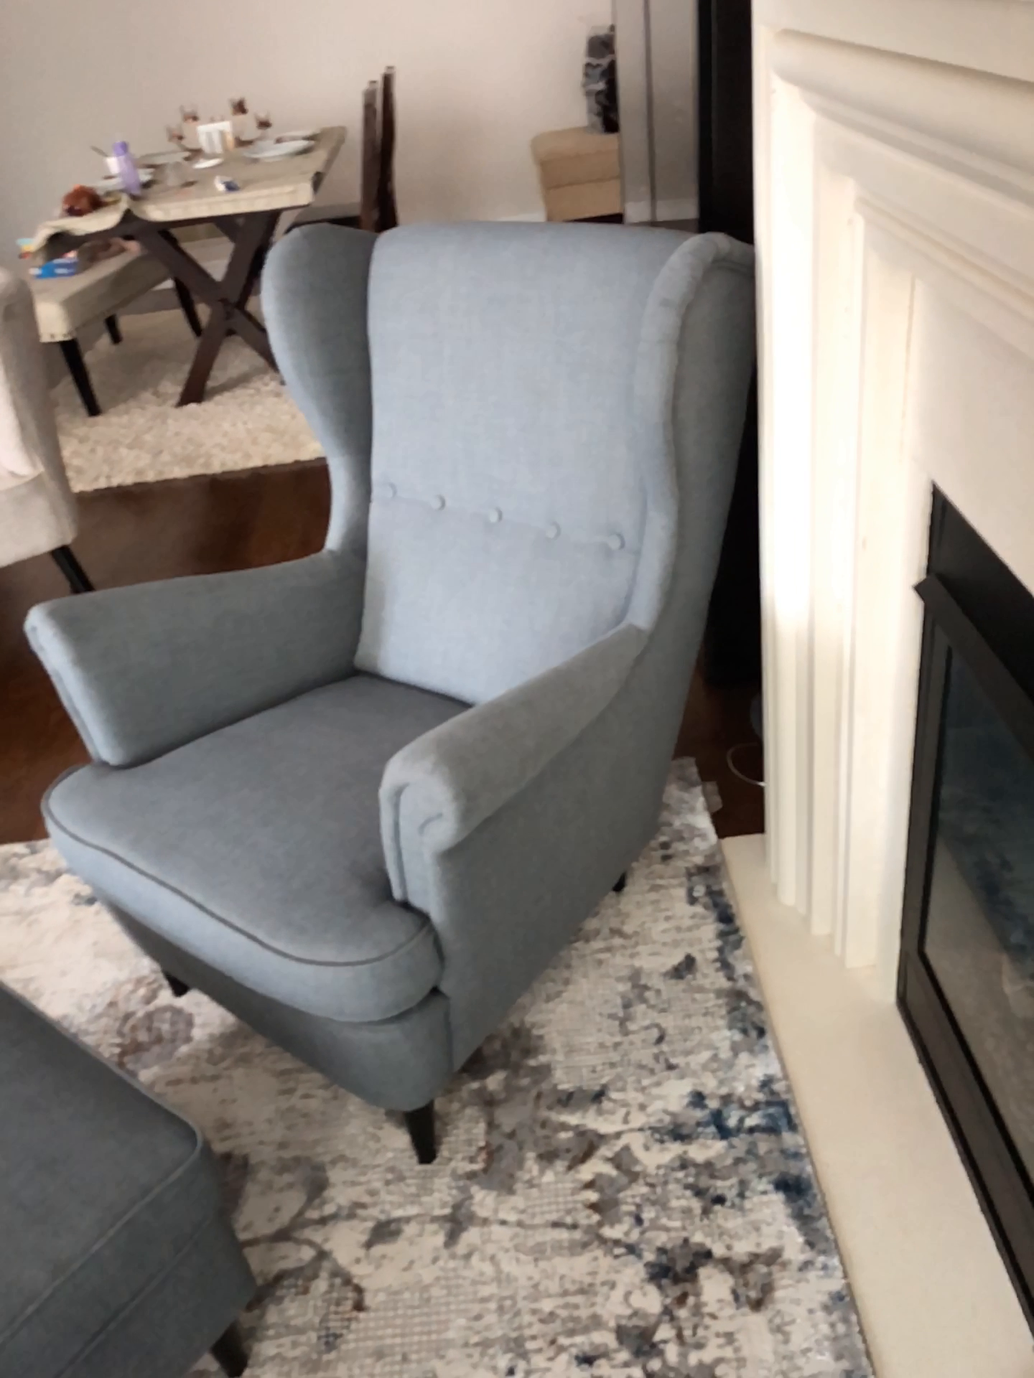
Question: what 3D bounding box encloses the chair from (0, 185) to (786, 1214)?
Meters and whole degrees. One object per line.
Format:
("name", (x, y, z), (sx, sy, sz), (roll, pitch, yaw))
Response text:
("chair", (-0.186, -0.088, 1.575), (0.802, 0.966, 0.851), (17, 40, 34))
